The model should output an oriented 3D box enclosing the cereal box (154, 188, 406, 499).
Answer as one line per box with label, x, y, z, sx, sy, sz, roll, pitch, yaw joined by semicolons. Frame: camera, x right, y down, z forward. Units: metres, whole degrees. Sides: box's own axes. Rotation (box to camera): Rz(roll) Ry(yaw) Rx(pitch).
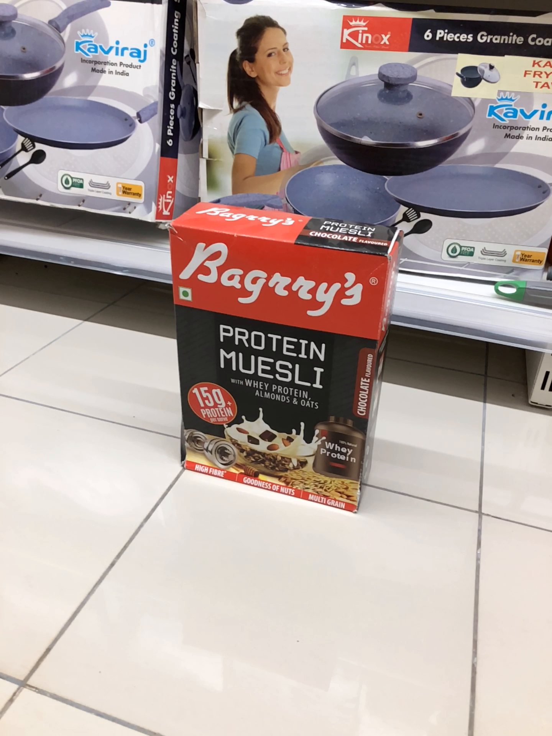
cereal box;-0.001;-0.023;0.552;0.190;0.238;0.081;12;29;15
